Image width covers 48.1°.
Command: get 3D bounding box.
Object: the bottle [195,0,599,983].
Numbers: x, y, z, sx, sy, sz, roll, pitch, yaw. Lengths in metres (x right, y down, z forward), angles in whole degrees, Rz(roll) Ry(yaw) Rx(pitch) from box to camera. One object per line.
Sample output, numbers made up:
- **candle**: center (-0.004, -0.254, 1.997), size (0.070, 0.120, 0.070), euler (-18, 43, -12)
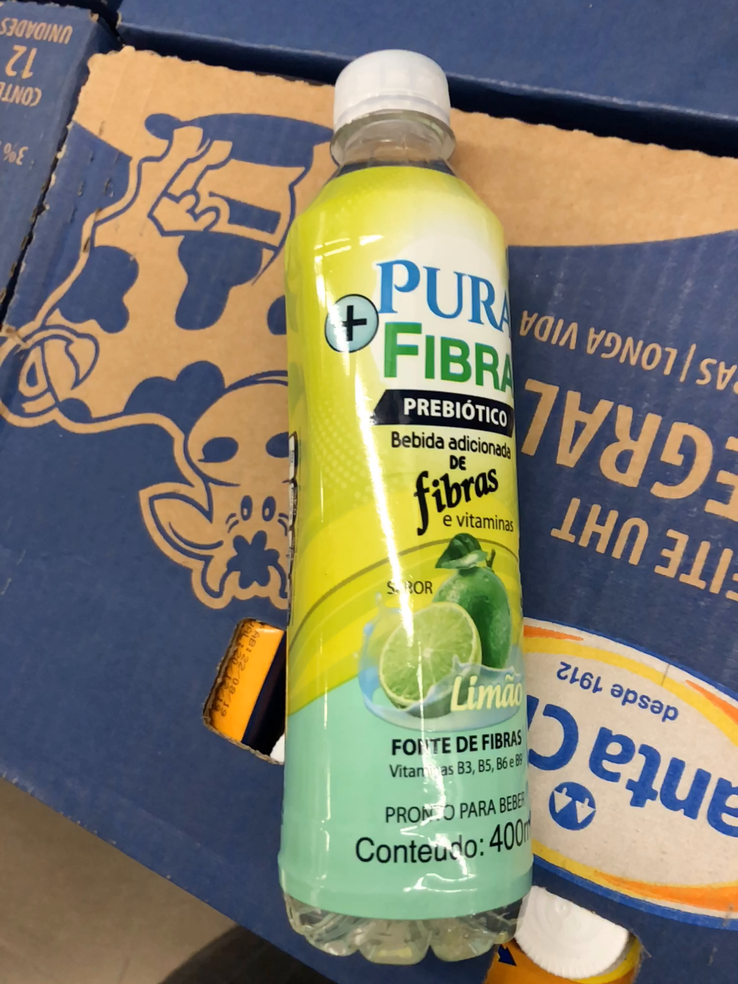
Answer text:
- **bottle**: center (0.012, -0.021, 0.201), size (0.070, 0.060, 0.250), euler (-3, 76, 18)
